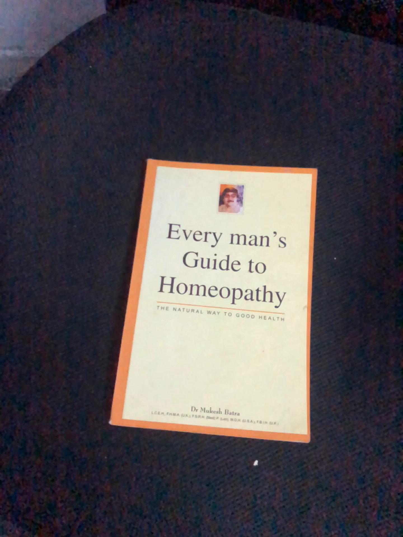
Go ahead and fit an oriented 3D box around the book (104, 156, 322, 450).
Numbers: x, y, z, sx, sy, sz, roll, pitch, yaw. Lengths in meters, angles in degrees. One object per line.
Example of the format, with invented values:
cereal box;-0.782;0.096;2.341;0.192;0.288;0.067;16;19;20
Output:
book;0.015;0.018;0.338;0.140;0.026;0.207;5;73;4
